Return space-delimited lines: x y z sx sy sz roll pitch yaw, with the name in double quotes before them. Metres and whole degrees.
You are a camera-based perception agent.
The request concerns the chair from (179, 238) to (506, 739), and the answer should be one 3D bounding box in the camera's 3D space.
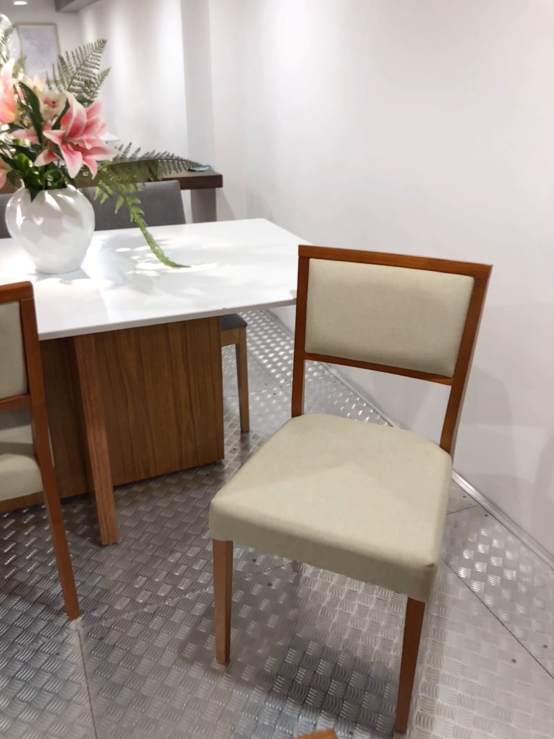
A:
"chair" 0.179 0.223 1.462 0.520 0.894 0.624 10 27 20
